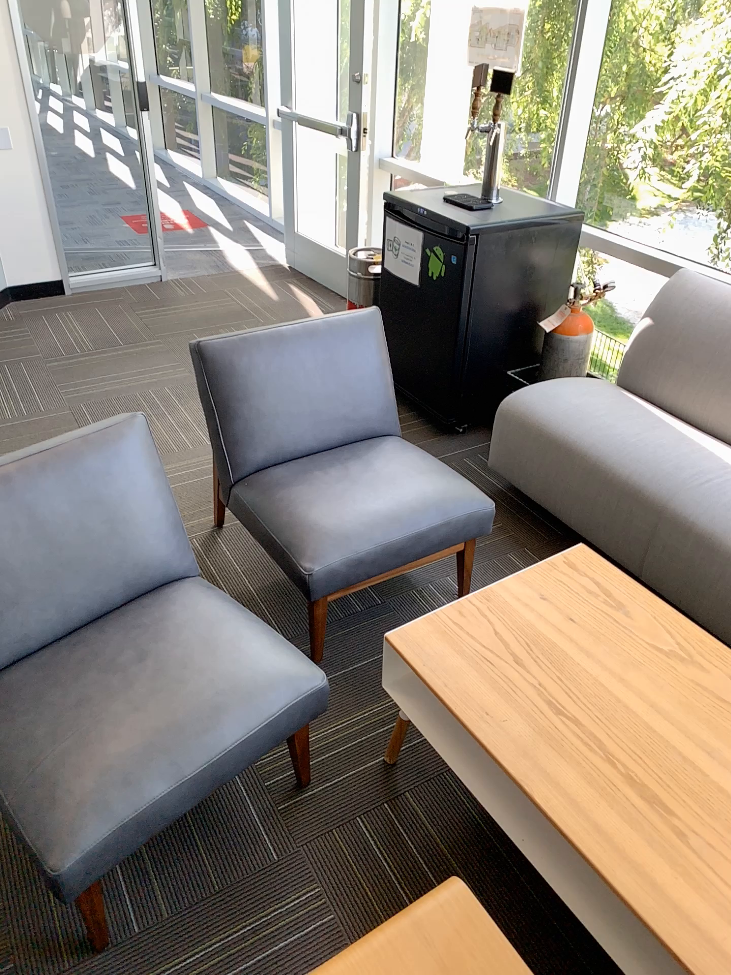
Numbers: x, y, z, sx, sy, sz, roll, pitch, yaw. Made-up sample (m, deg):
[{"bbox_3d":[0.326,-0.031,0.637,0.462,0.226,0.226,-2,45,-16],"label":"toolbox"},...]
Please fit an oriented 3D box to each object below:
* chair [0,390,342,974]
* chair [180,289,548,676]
[{"bbox_3d":[-0.597,0.367,1.707,0.681,0.766,0.853,-27,43,-36],"label":"chair"},{"bbox_3d":[-0.044,-0.083,2.410,0.741,0.766,0.854,-19,39,-29],"label":"chair"}]
